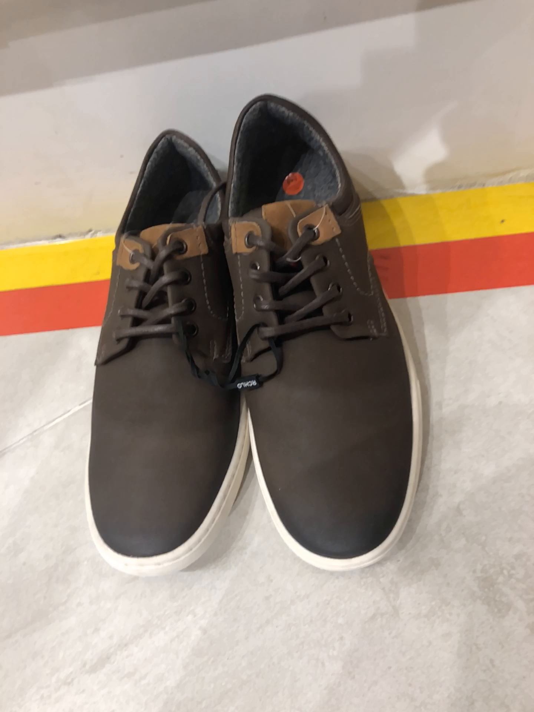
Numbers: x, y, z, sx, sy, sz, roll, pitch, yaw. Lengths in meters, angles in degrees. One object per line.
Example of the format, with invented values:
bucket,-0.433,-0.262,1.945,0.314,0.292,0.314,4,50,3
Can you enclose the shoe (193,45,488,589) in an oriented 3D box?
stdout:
shoe,0.030,-0.022,0.330,0.100,0.100,0.271,-10,68,7

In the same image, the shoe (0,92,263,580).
shoe,-0.063,-0.012,0.357,0.100,0.100,0.271,-4,66,11
